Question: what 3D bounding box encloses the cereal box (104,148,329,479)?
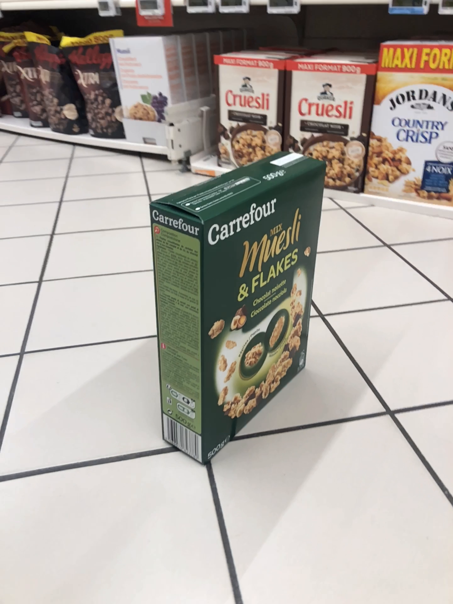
[{"bbox_3d":[0.000,0.002,0.483,0.080,0.249,0.201,23,37,32],"label":"cereal box"}]
